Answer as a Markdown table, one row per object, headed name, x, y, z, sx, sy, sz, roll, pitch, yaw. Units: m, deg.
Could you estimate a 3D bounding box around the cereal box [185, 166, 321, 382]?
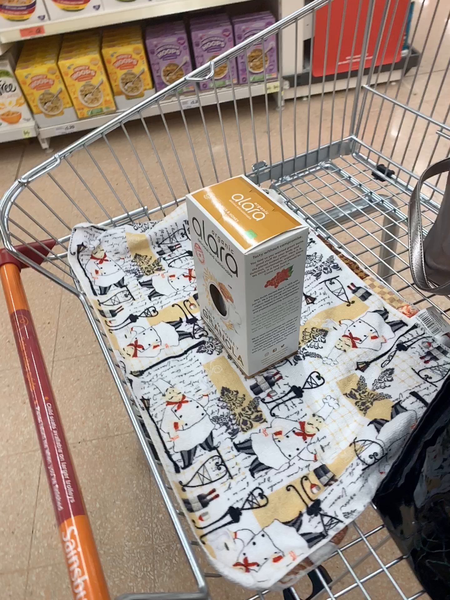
| name | x | y | z | sx | sy | sz | roll | pitch | yaw |
| --- | --- | --- | --- | --- | --- | --- | --- | --- | --- |
| cereal box | 0.029 | -0.024 | 0.522 | 0.080 | 0.198 | 0.121 | -26 | 49 | -19 |
